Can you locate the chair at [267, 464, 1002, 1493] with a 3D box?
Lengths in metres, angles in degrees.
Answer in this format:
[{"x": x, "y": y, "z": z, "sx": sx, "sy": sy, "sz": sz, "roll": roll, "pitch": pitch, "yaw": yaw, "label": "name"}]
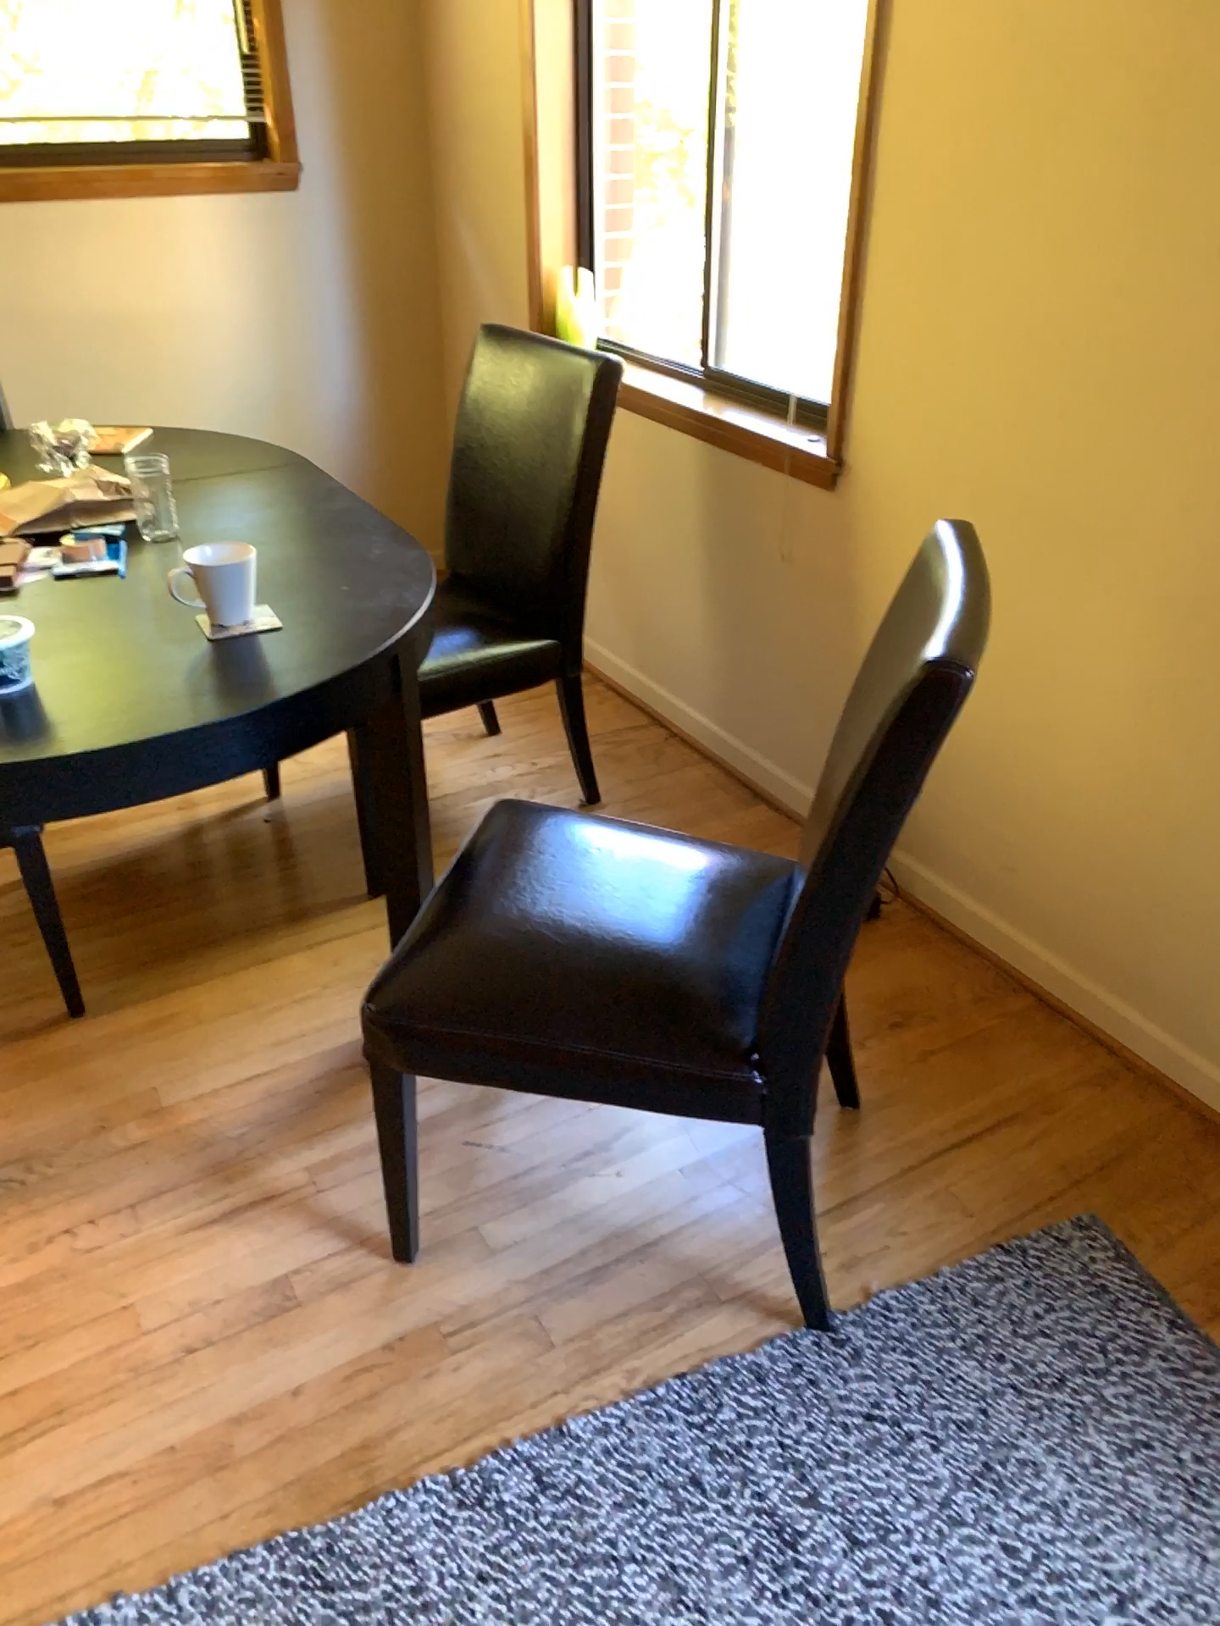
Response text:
[{"x": 0.075, "y": 0.194, "z": 1.609, "sx": 0.651, "sy": 1.084, "sz": 0.623, "roll": 7, "pitch": 31, "yaw": 12, "label": "chair"}]
